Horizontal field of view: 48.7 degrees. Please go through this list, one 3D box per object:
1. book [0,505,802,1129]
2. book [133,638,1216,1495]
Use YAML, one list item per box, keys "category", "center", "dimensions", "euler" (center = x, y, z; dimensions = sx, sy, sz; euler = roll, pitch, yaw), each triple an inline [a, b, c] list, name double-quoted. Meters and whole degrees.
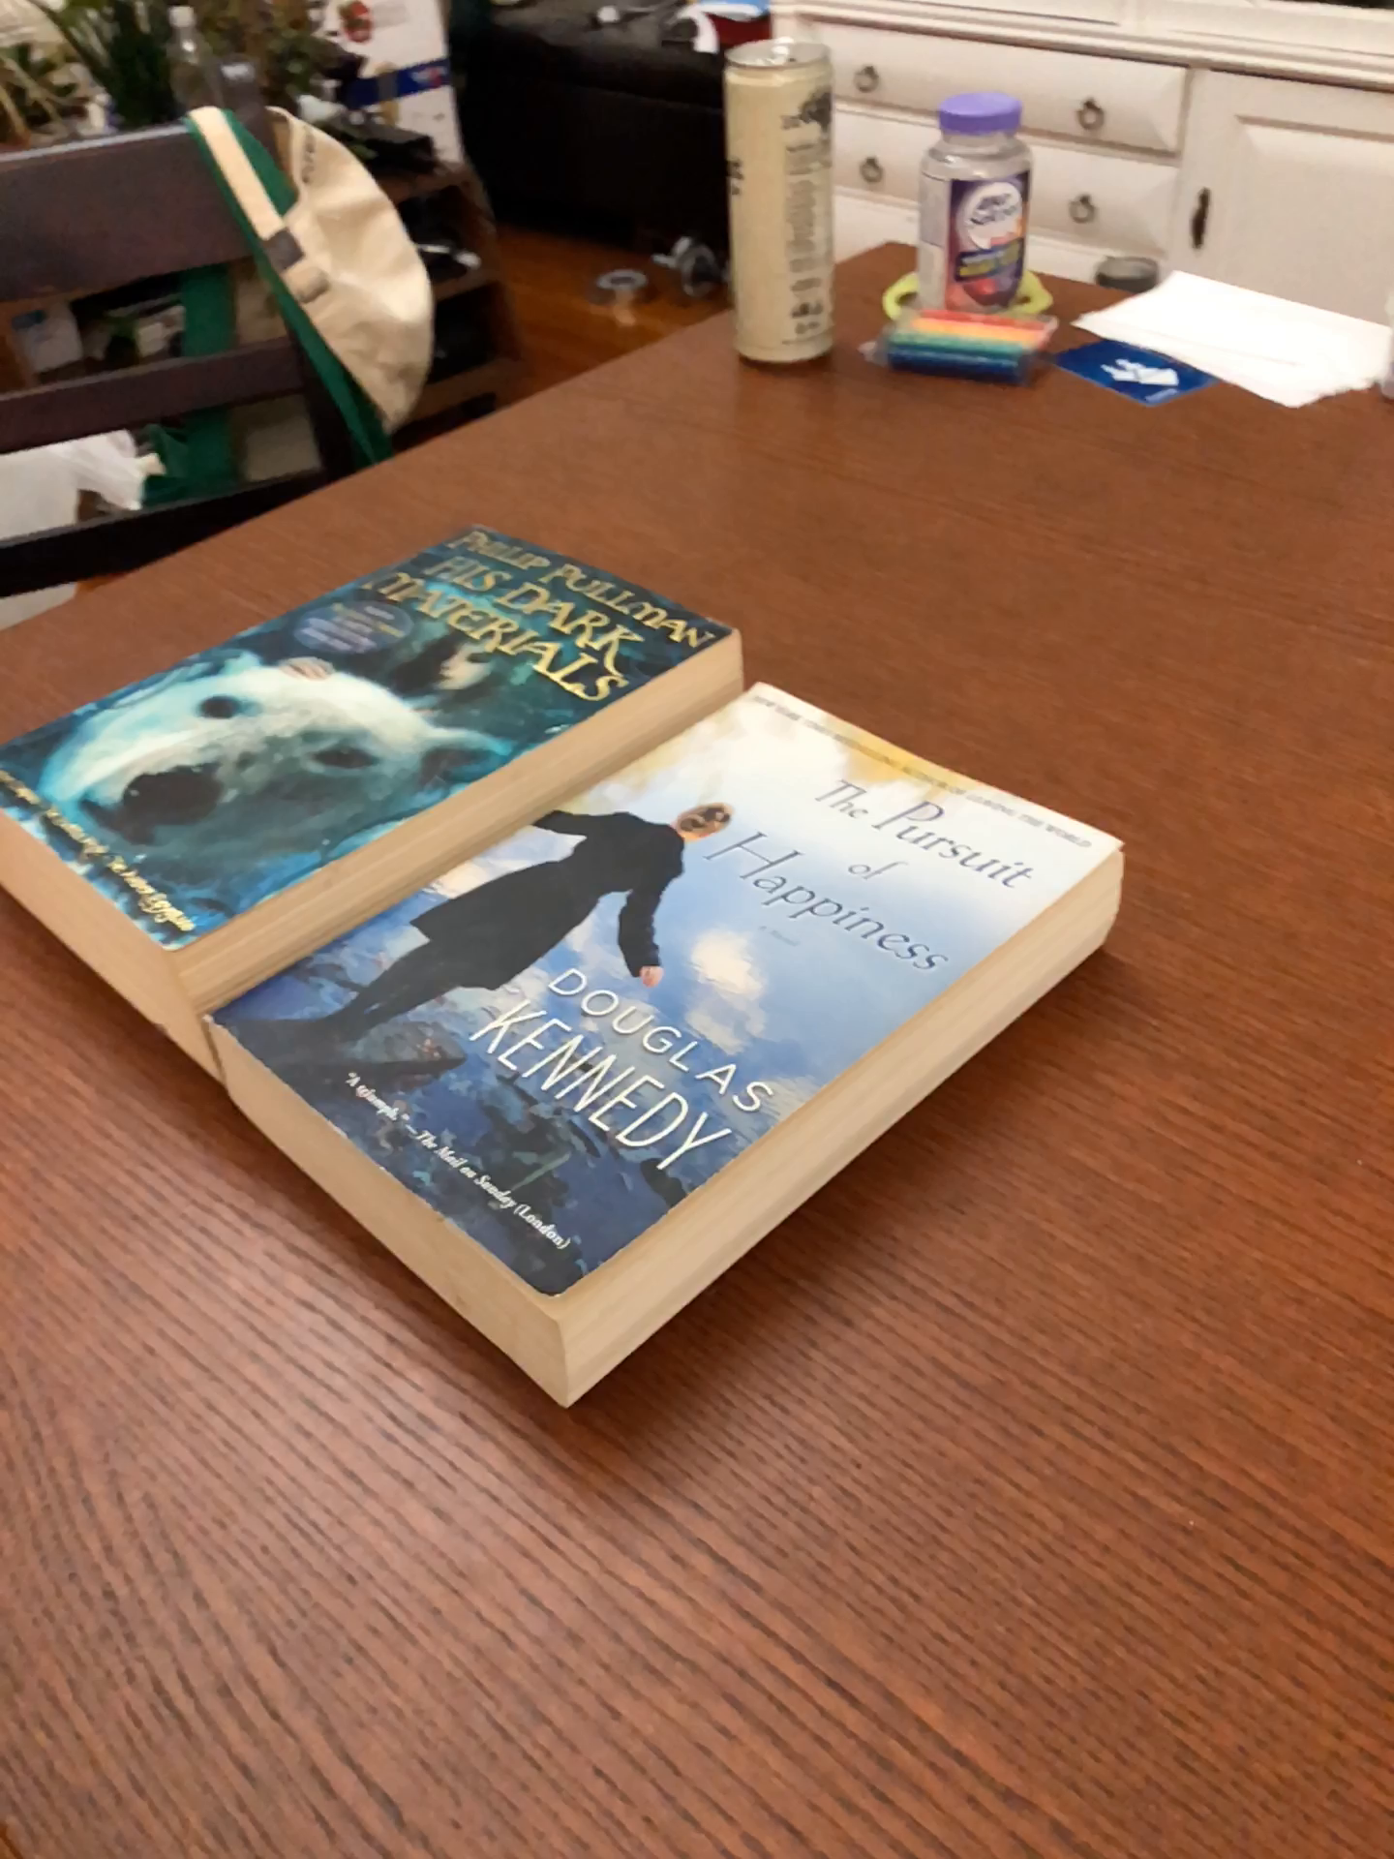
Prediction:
- category: "book"
  center: [-0.114, -0.060, 0.549]
  dimensions: [0.251, 0.050, 0.181]
  euler: [-35, 48, -31]
- category: "book"
  center: [-0.001, 0.011, 0.445]
  dimensions: [0.251, 0.040, 0.181]
  euler: [-35, 48, -31]
